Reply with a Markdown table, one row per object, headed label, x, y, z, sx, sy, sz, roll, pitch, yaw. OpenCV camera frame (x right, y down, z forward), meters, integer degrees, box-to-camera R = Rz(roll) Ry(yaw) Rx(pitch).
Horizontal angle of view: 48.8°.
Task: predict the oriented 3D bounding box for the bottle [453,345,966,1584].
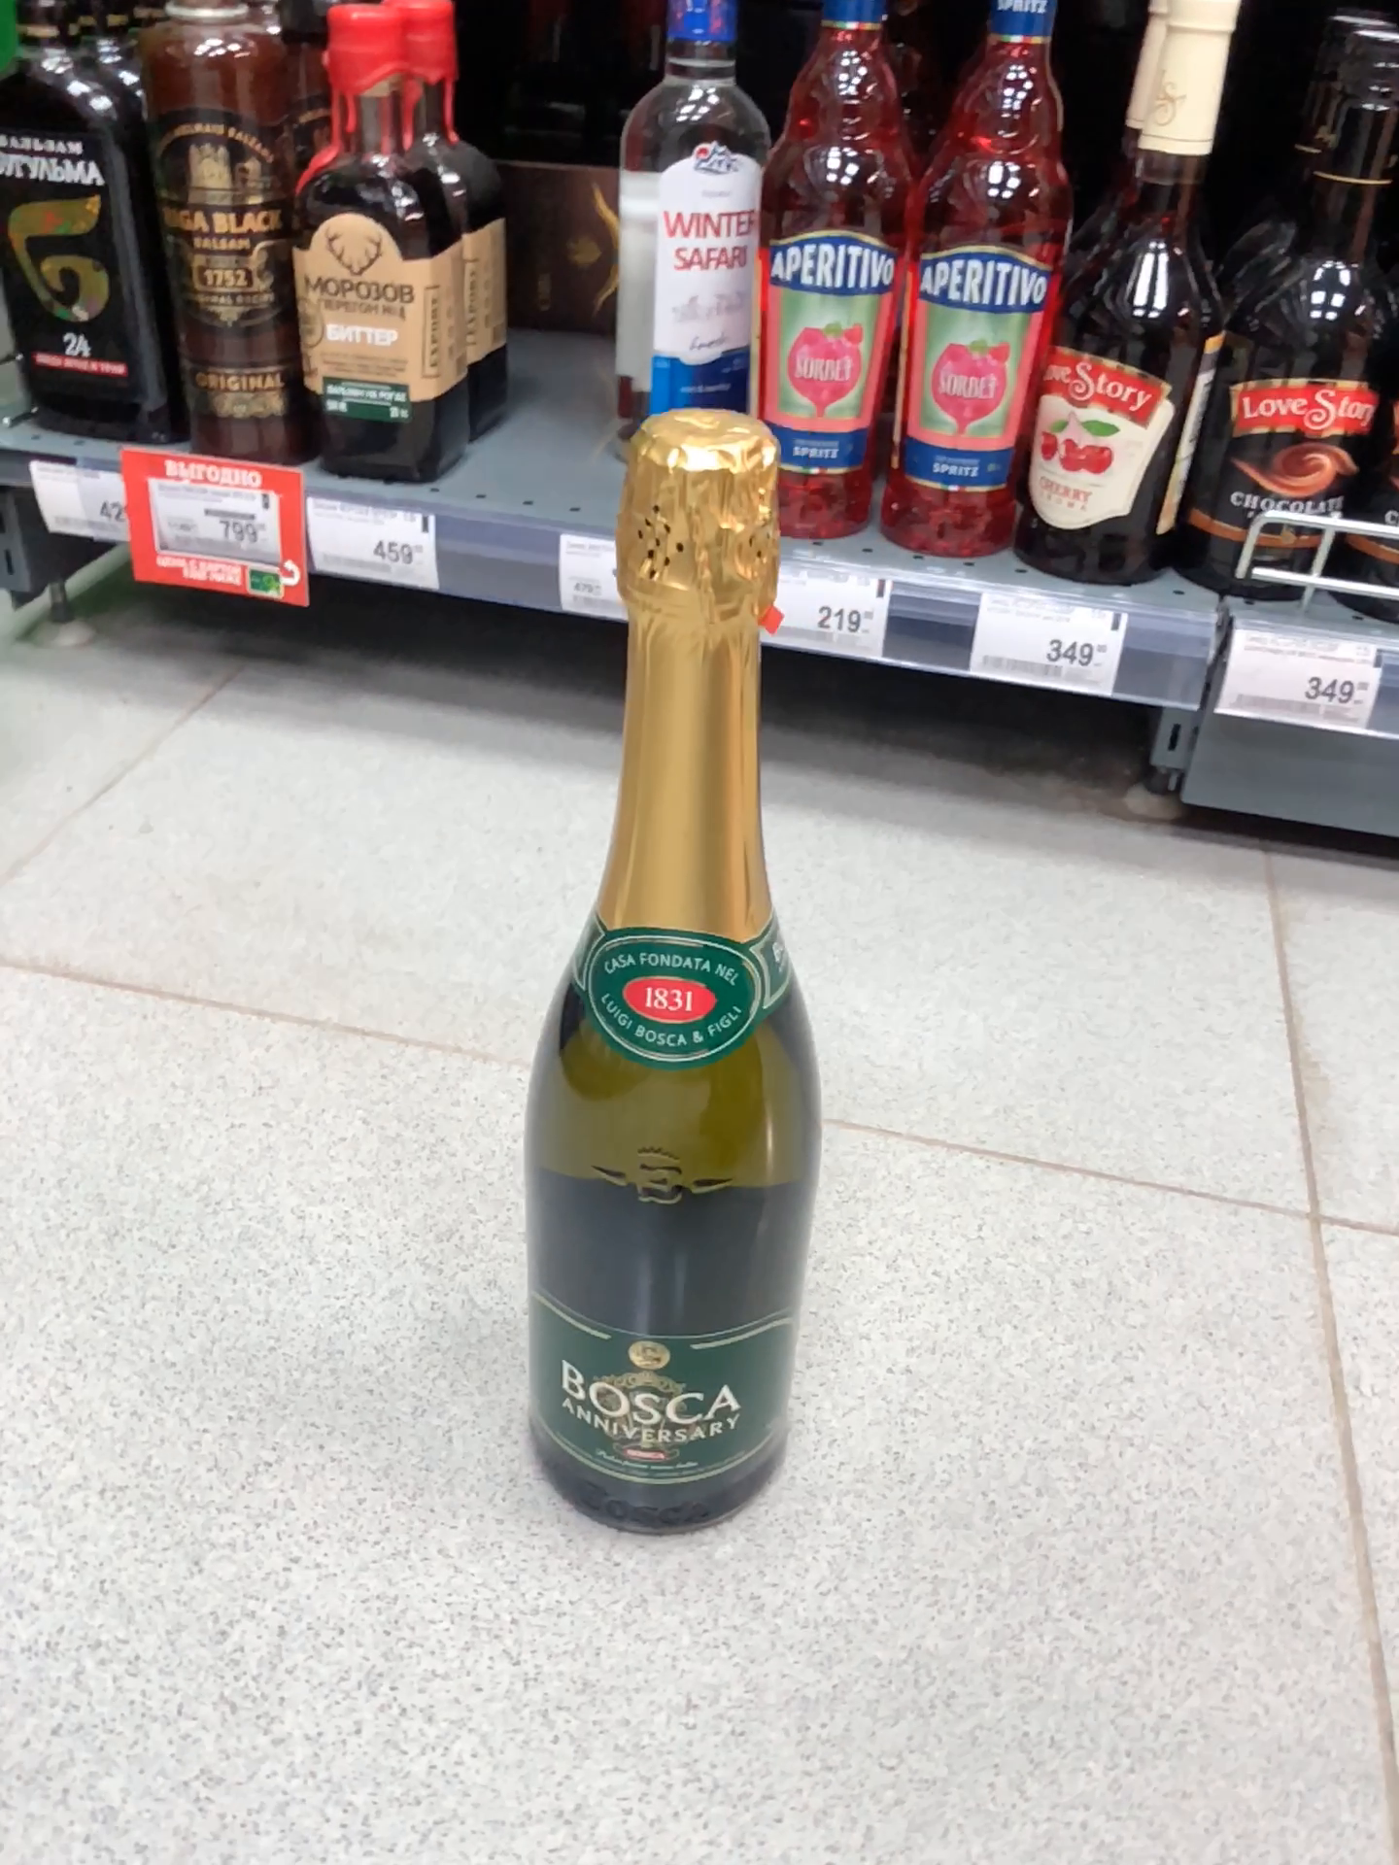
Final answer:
| label | x | y | z | sx | sy | sz | roll | pitch | yaw |
| --- | --- | --- | --- | --- | --- | --- | --- | --- | --- |
| bottle | -0.001 | 0.026 | 0.398 | 0.090 | 0.314 | 0.091 | 2 | 34 | -2 |
